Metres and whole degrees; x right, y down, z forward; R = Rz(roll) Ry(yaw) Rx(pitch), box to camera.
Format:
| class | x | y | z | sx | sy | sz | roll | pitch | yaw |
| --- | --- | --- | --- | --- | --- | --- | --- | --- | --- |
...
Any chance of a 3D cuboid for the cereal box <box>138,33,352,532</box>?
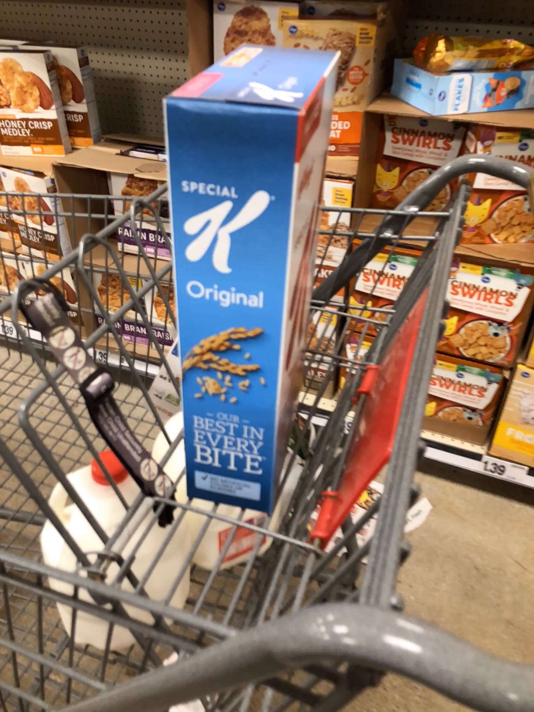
| class | x | y | z | sx | sy | sz | roll | pitch | yaw |
| --- | --- | --- | --- | --- | --- | --- | --- | --- | --- |
| cereal box | -0.006 | -0.059 | 0.482 | 0.080 | 0.329 | 0.231 | 10 | 38 | 10 |
